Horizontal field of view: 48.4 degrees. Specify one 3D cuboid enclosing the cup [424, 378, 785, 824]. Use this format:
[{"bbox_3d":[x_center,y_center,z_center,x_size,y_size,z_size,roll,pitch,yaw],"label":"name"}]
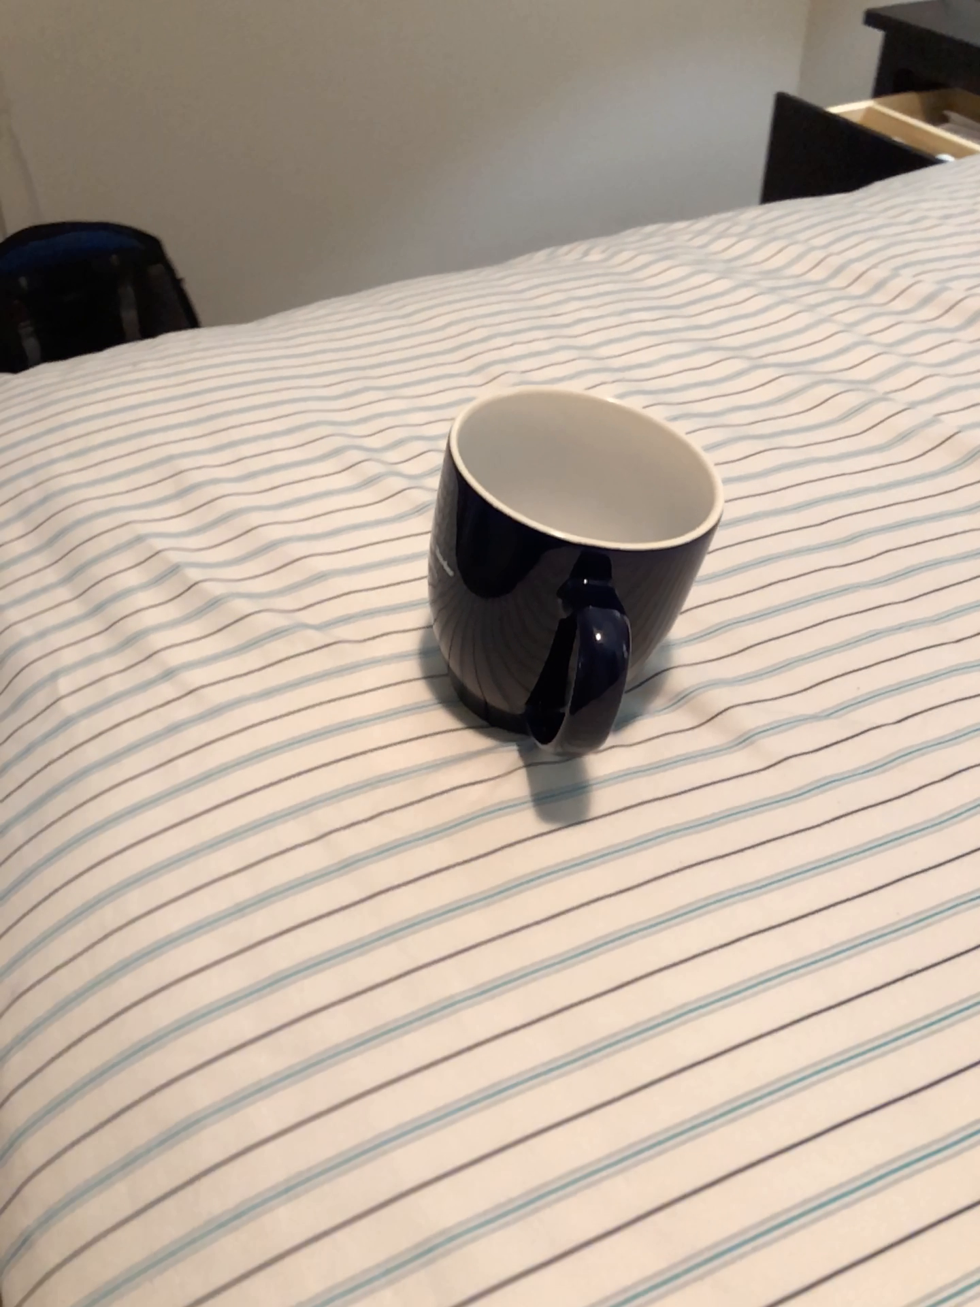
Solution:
[{"bbox_3d":[0.029,-0.021,0.383,0.090,0.090,0.131,3,41,-9],"label":"cup"}]
